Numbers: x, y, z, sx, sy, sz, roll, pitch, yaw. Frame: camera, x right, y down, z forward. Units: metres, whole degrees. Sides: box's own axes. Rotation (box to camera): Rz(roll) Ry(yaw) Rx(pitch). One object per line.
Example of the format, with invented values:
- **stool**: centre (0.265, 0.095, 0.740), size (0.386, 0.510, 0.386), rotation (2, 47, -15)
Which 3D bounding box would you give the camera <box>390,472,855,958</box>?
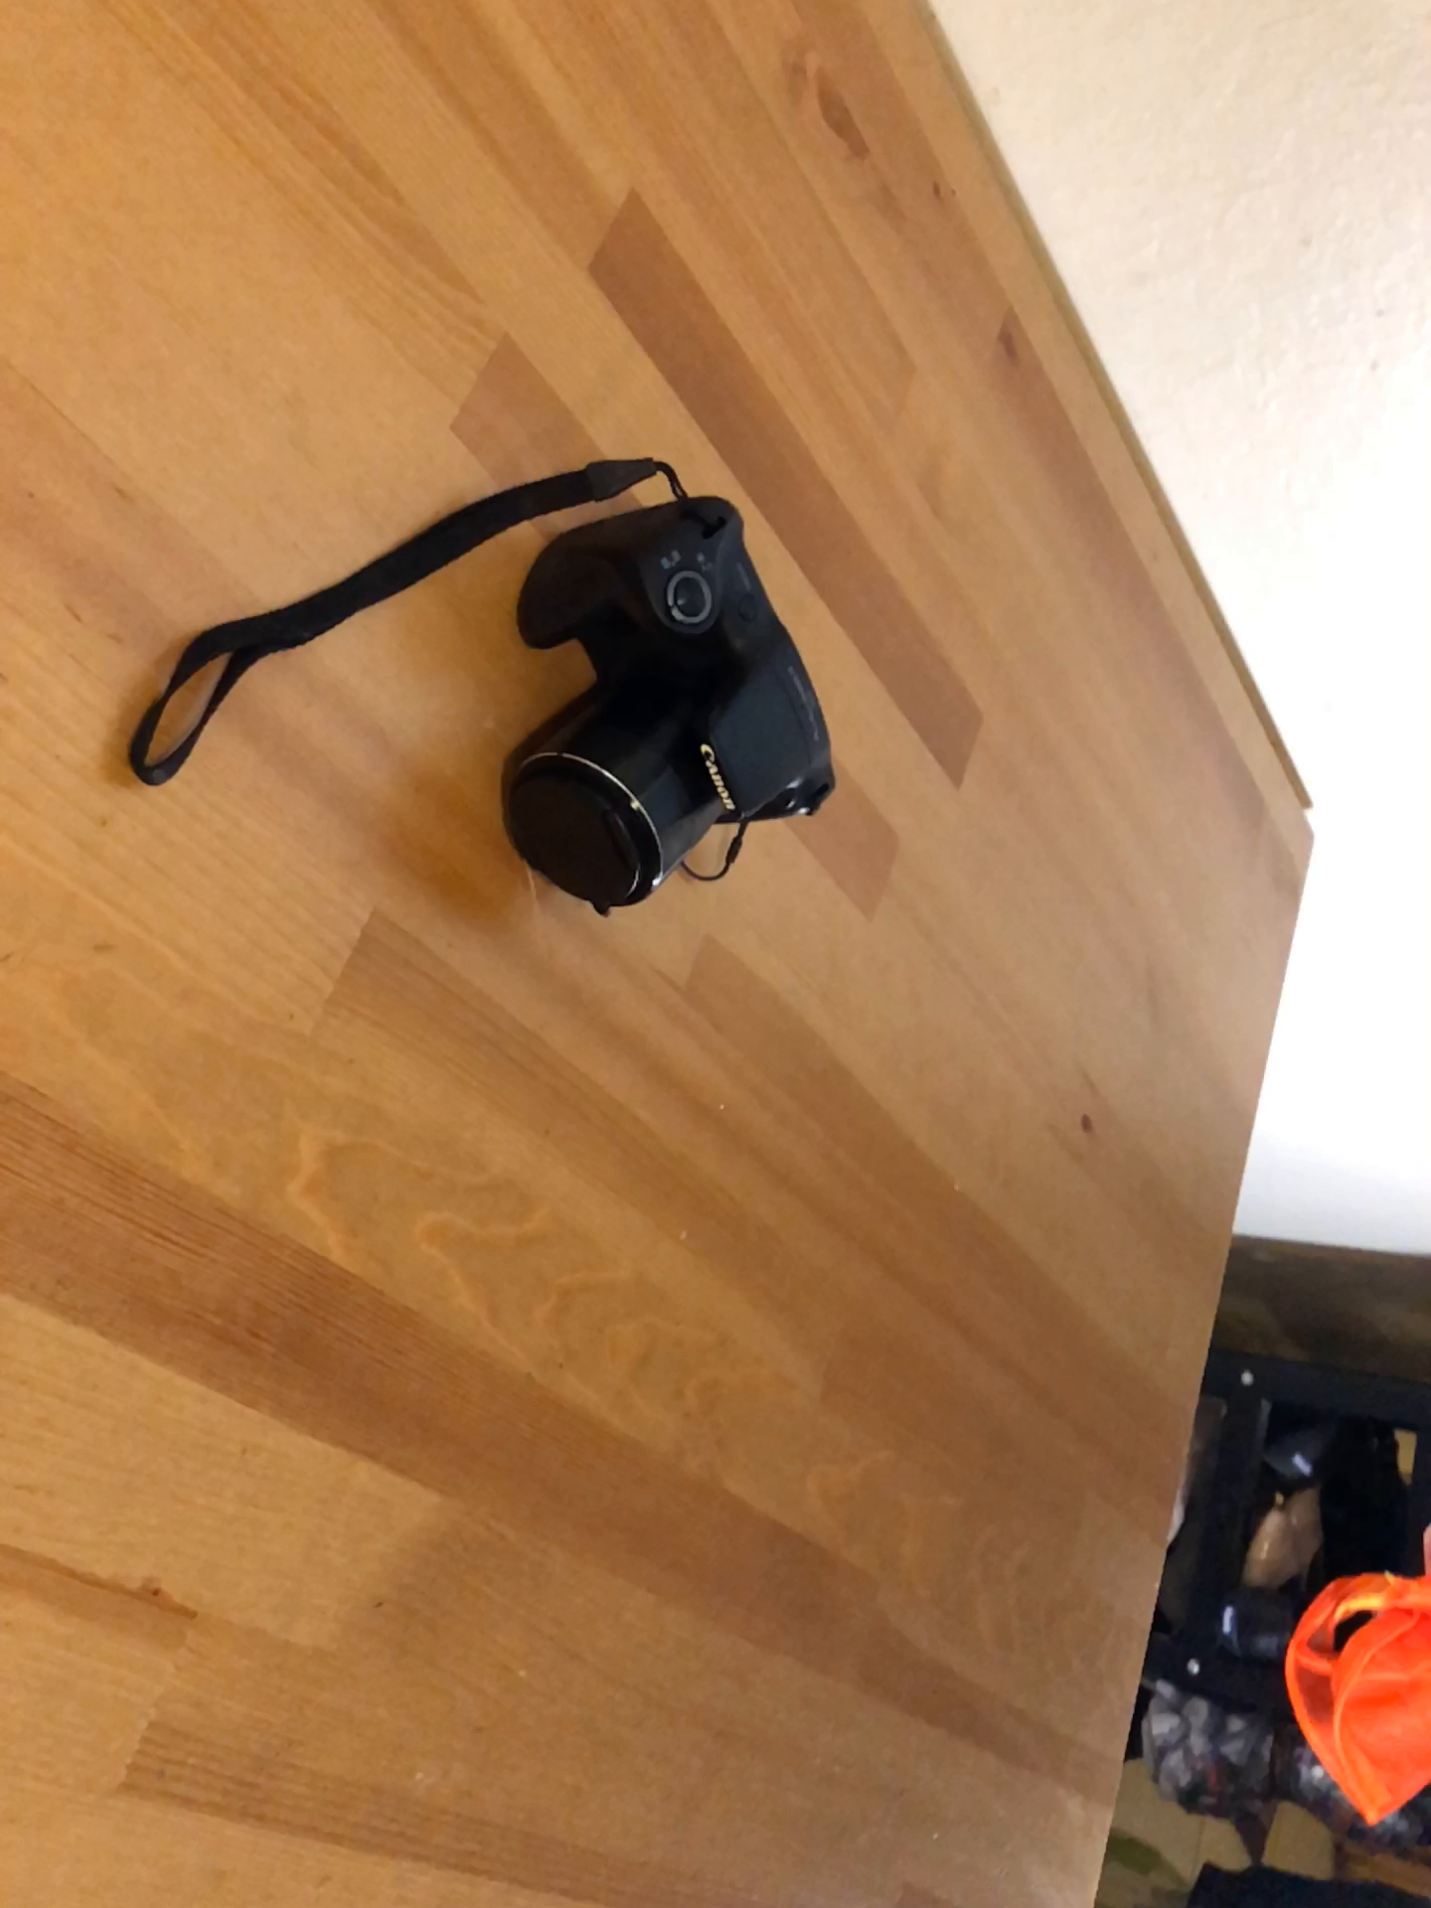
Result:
- **camera**: centre (-0.023, -0.071, 0.487), size (0.097, 0.062, 0.109), rotation (-51, 127, -38)
